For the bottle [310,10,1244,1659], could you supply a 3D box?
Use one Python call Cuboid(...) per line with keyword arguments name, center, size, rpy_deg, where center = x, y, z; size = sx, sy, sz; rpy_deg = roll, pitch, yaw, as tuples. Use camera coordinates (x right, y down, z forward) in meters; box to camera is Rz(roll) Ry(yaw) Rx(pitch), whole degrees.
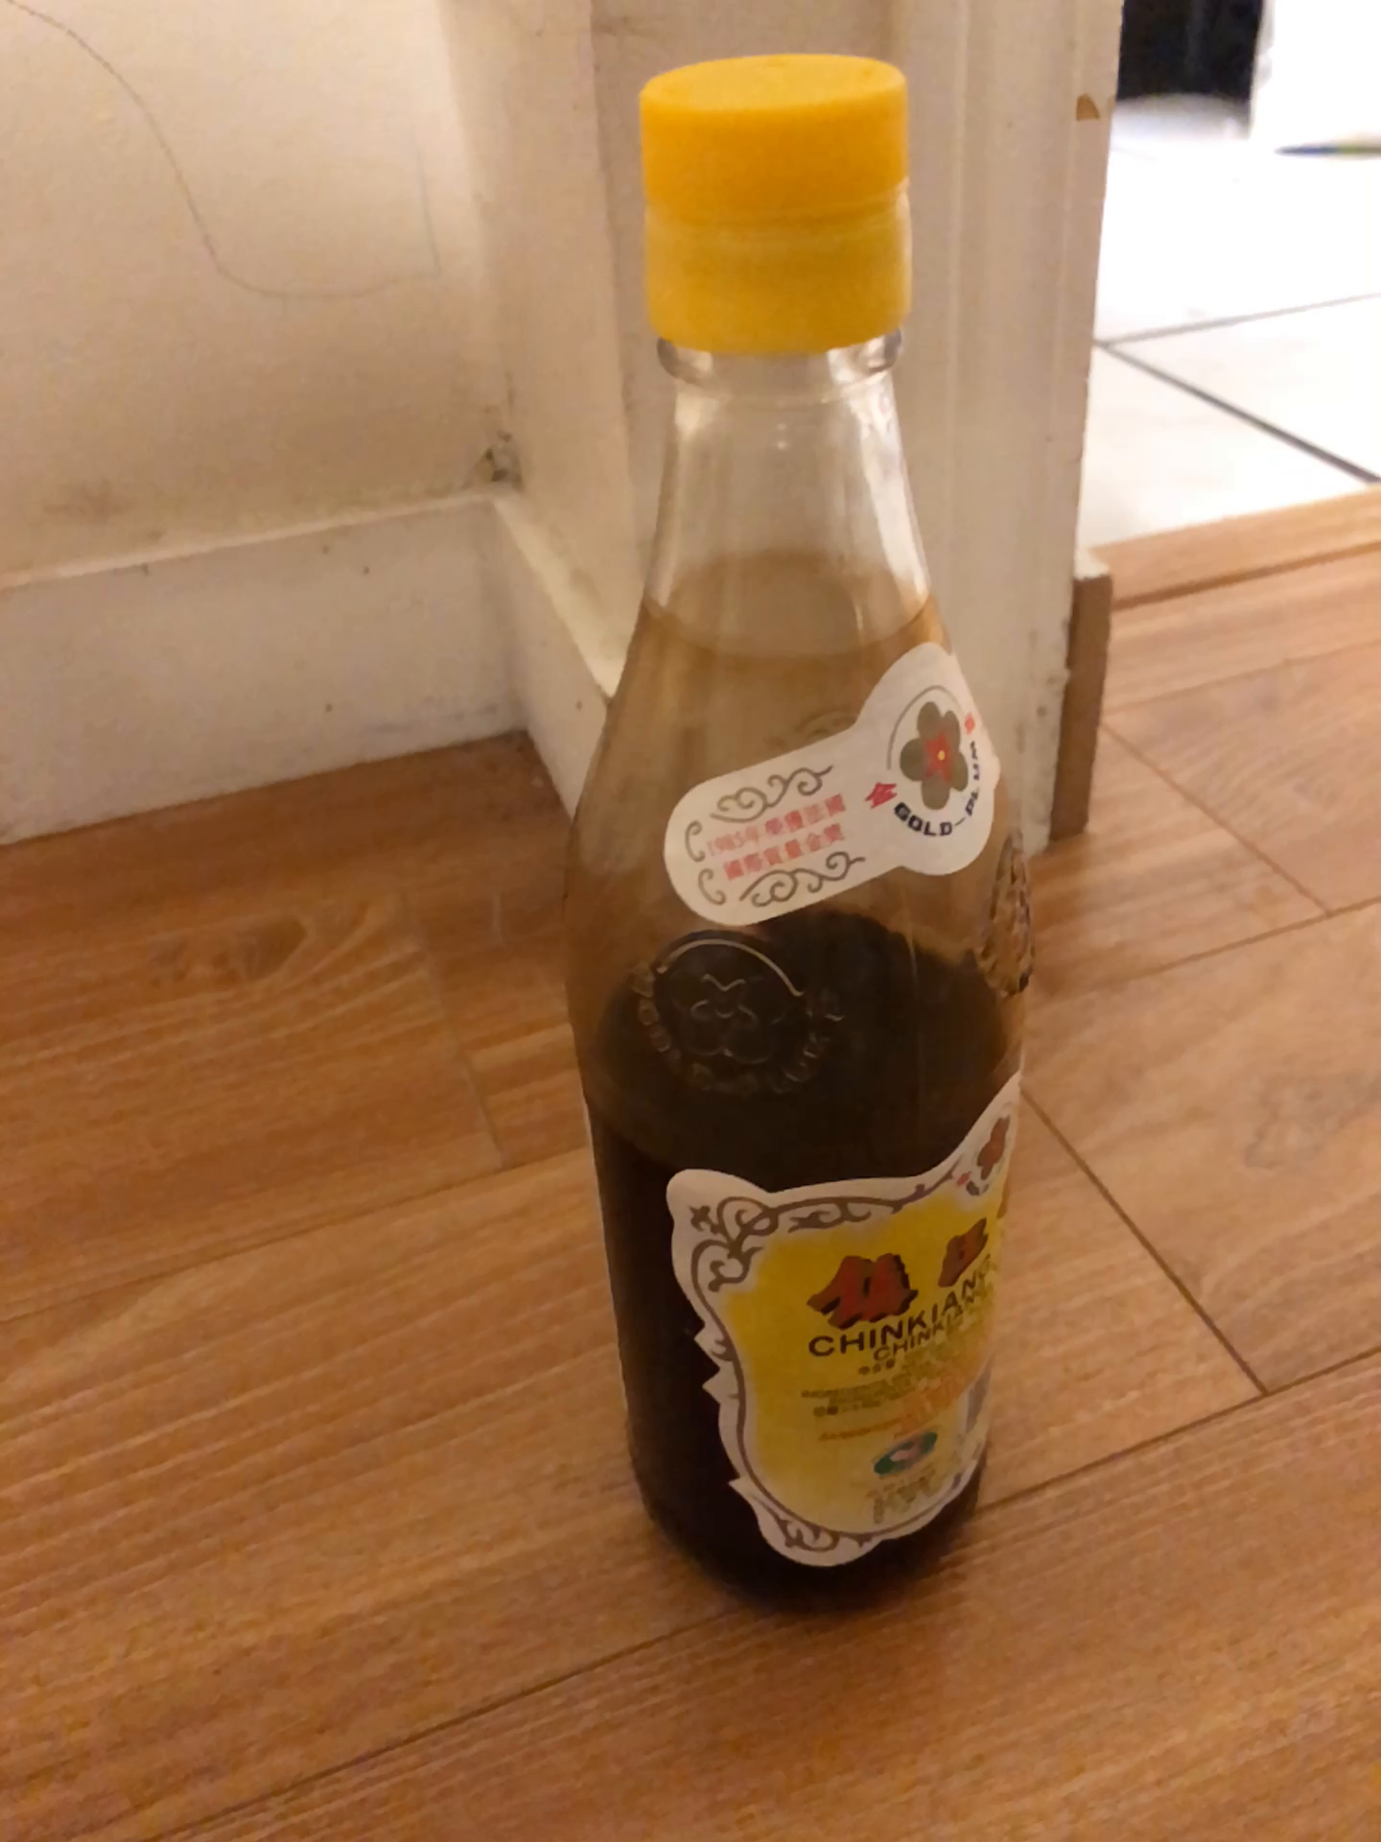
Cuboid(name="bottle", center=(0.017, 0.002, 0.229), size=(0.070, 0.228, 0.070), rpy_deg=(-3, 36, 2))
